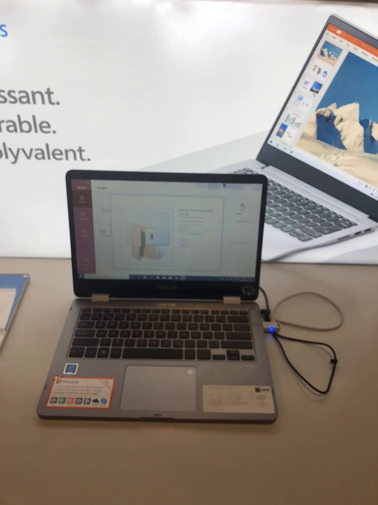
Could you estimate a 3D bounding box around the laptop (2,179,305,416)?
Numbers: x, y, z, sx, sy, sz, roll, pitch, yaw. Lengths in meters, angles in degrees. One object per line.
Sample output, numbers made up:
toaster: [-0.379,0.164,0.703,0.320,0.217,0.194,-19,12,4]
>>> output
laptop: [-0.037,0.051,0.608,0.311,0.214,0.274,1,35,-1]
